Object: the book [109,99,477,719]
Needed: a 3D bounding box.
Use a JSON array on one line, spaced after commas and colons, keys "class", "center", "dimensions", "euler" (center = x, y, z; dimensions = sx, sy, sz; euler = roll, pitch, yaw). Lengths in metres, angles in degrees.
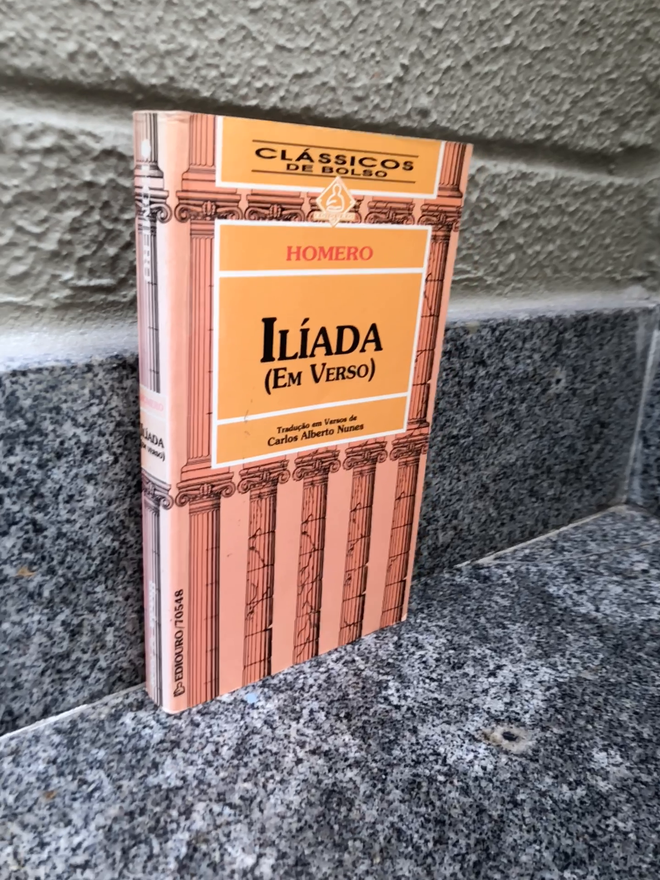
[{"class": "book", "center": [-0.014, -0.011, 0.298], "dimensions": [0.139, 0.219, 0.030], "euler": [-11, 25, -36]}]
